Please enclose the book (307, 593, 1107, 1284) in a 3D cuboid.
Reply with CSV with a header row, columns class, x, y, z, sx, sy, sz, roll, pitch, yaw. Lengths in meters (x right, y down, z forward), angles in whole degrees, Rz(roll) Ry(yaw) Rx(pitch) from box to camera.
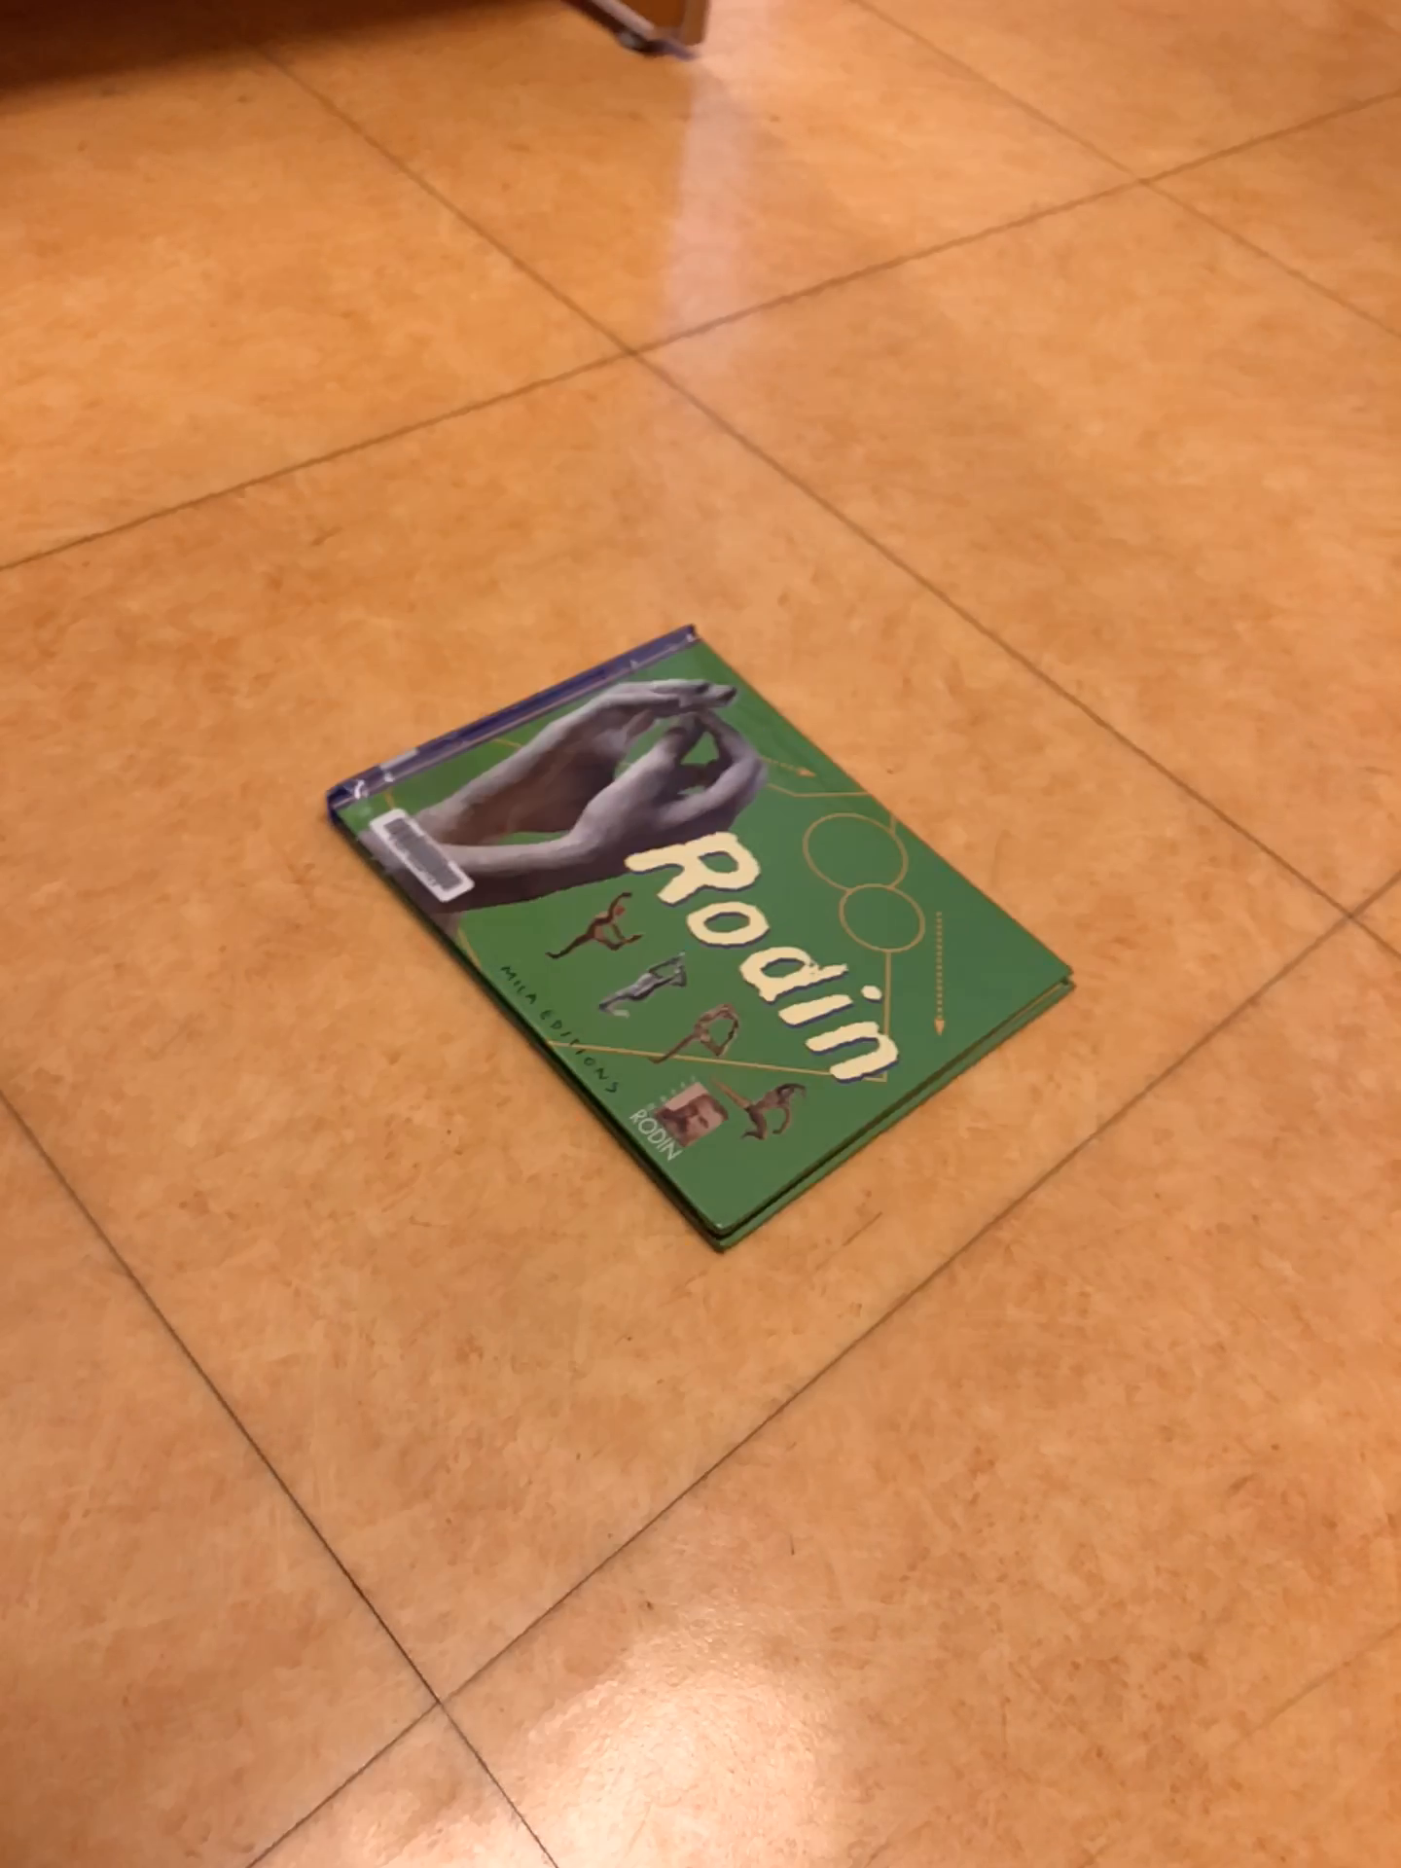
class,x,y,z,sx,sy,sz,roll,pitch,yaw
book,0.002,-0.017,0.601,0.201,0.030,0.243,-31,65,-31
